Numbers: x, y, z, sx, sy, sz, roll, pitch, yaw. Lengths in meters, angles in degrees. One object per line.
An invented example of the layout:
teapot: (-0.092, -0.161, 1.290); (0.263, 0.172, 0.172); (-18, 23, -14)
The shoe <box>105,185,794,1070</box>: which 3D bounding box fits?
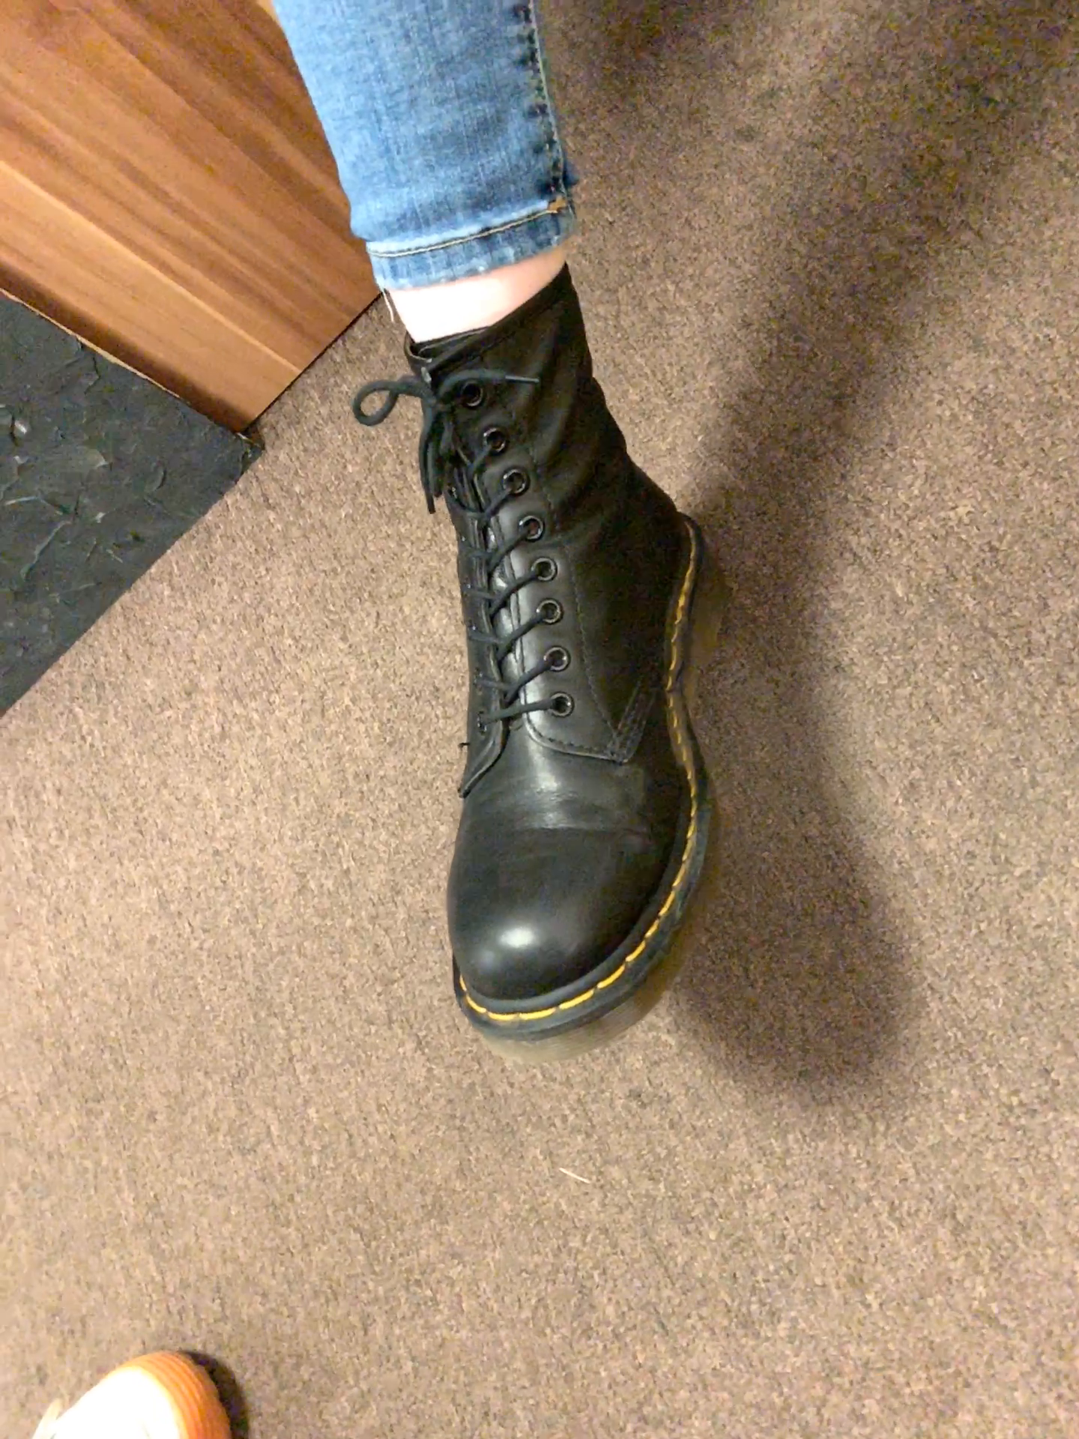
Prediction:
shoe: (0.000, -0.042, 0.411); (0.120, 0.150, 0.290); (-9, 44, 29)
